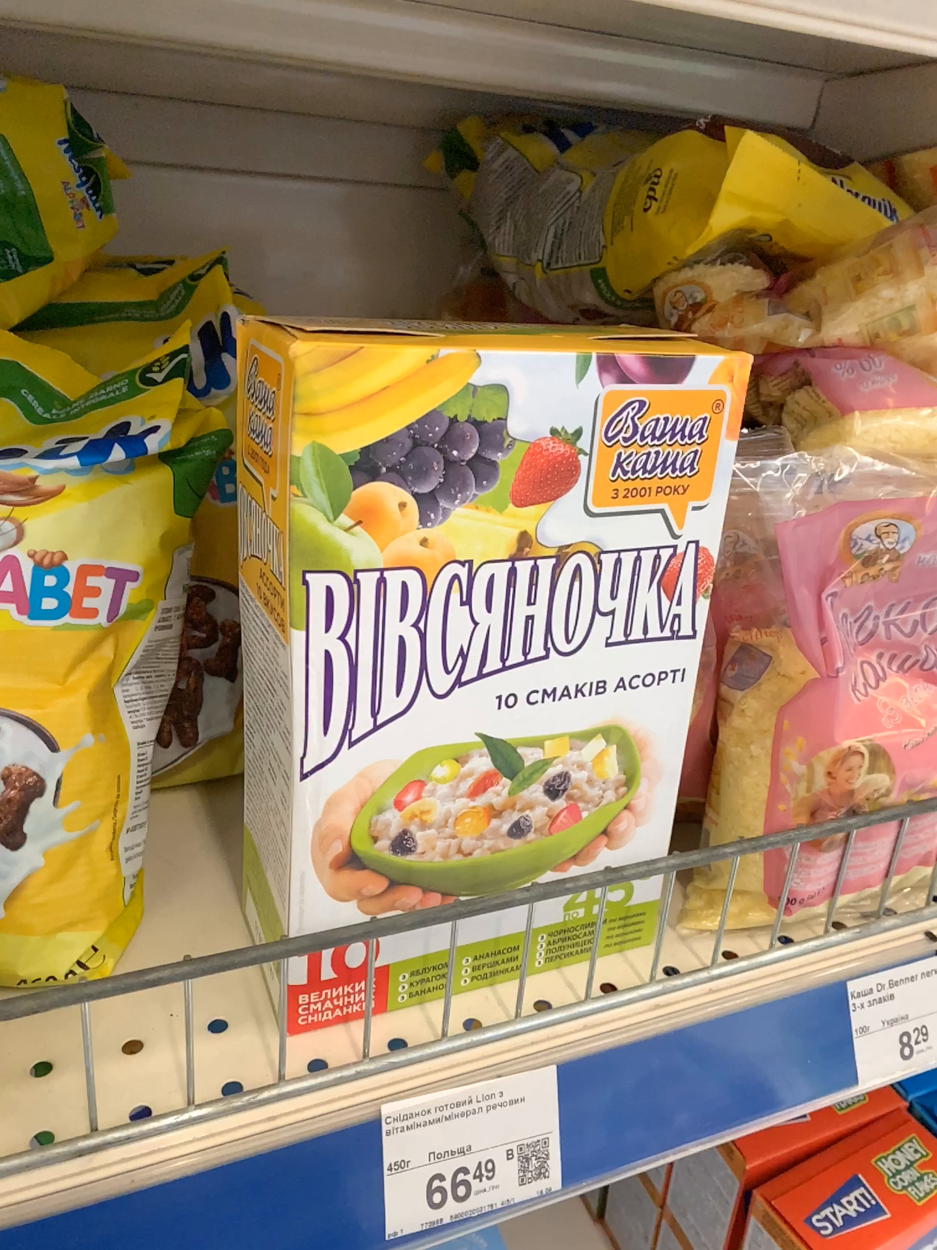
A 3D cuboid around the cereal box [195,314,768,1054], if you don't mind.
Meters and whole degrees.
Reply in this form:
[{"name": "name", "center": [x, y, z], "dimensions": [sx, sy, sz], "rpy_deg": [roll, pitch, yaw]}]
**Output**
[{"name": "cereal box", "center": [-0.003, 0.013, 0.317], "dimensions": [0.150, 0.208, 0.070], "rpy_deg": [-5, 22, -22]}]
